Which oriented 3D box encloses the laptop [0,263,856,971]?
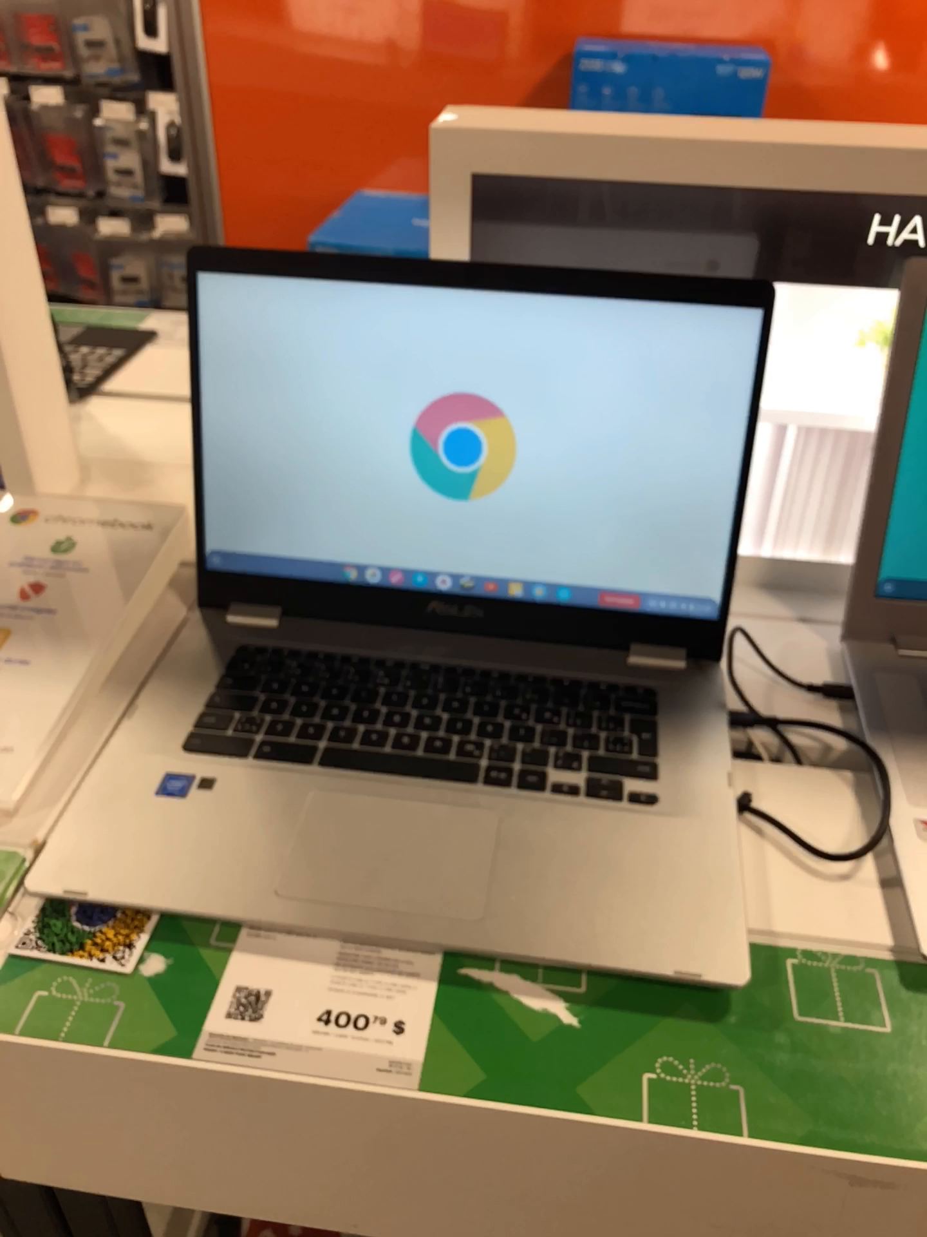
[{"bbox_3d":[-0.015,-0.025,0.537,0.337,0.225,0.287,5,35,7],"label":"laptop"}]
